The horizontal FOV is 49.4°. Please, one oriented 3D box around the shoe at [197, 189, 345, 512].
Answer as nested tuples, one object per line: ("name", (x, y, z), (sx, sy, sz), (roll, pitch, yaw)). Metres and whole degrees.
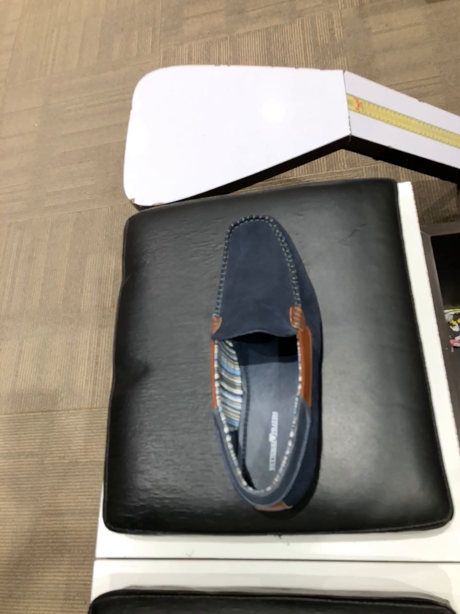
("shoe", (0.037, 0.043, 0.494), (0.110, 0.100, 0.292), (-8, 66, 12))
